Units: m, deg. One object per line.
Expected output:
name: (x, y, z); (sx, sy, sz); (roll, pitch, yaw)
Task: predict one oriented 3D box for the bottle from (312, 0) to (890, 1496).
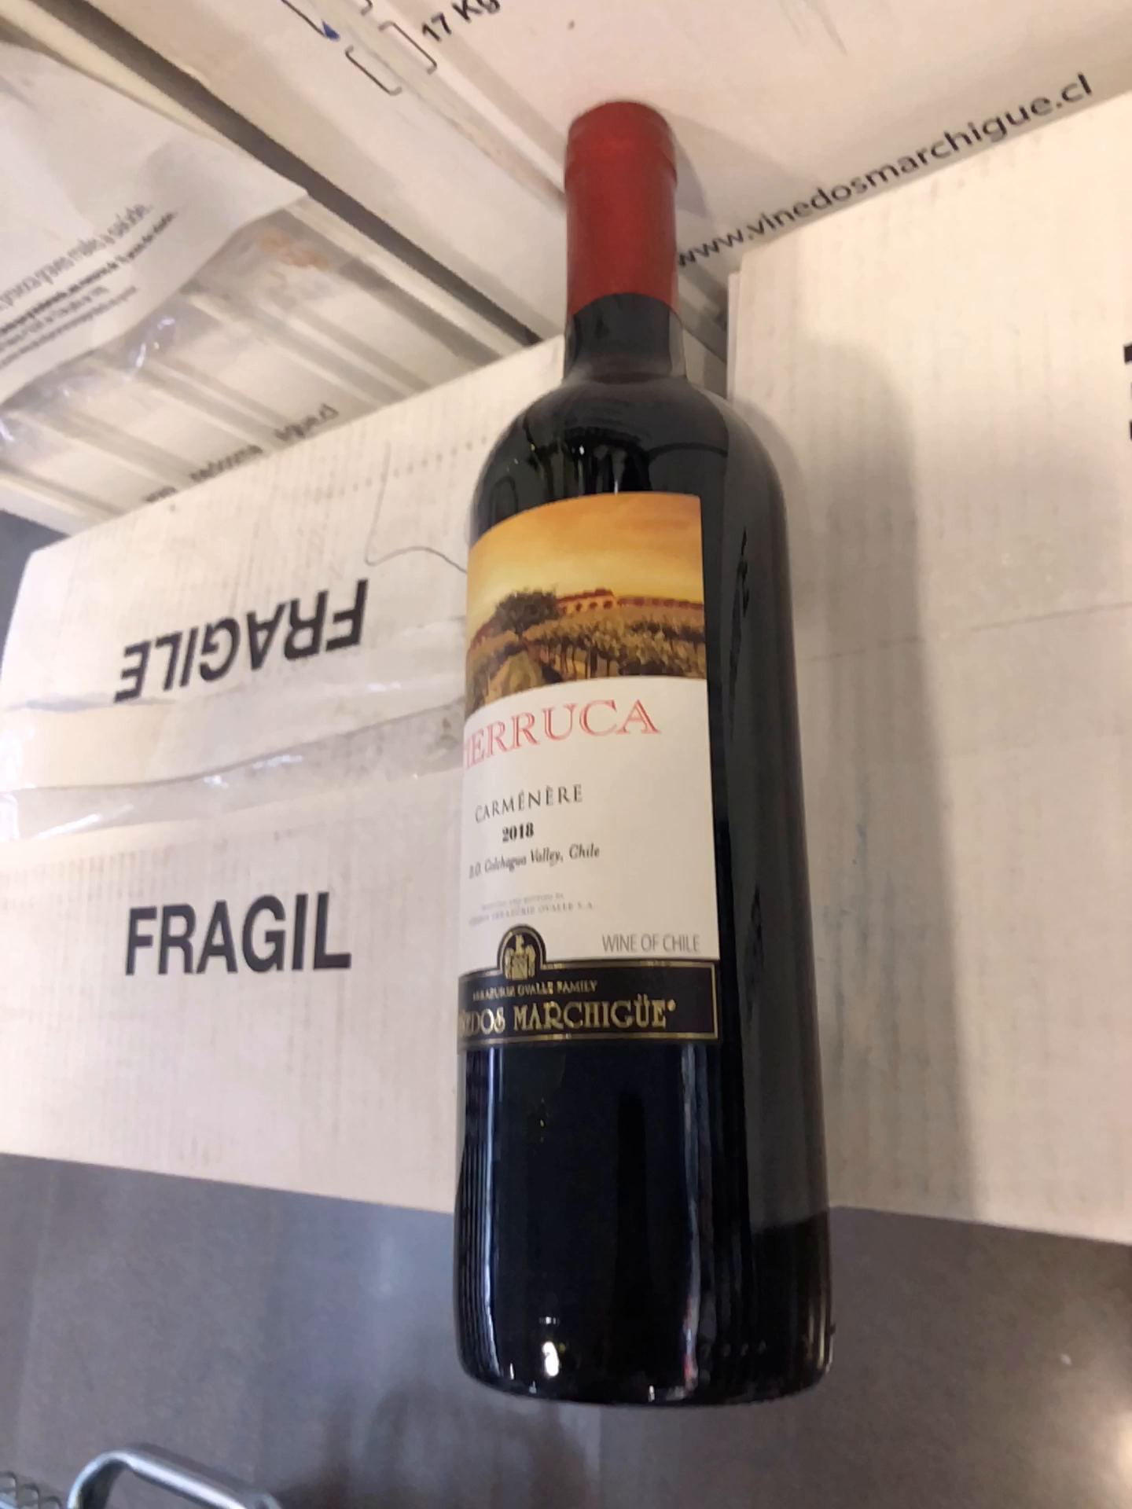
bottle: (0.009, -0.028, 0.287); (0.080, 0.080, 0.320); (-12, 70, 37)
